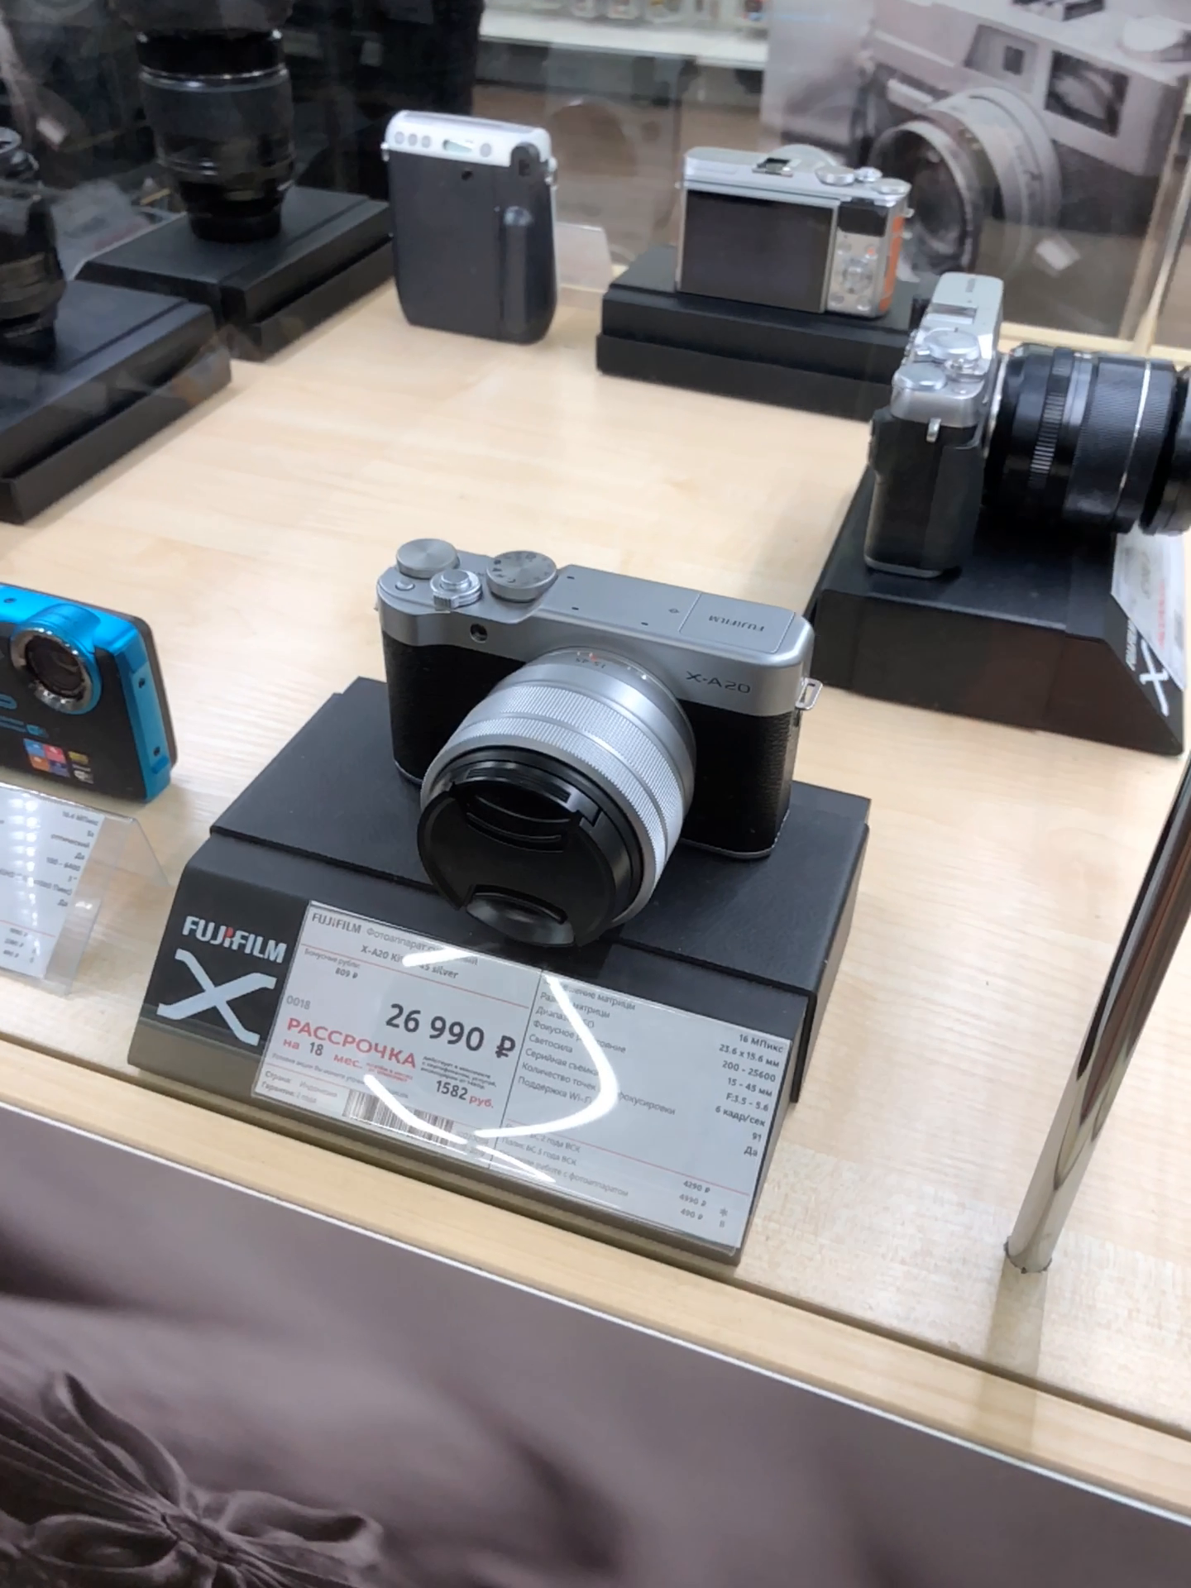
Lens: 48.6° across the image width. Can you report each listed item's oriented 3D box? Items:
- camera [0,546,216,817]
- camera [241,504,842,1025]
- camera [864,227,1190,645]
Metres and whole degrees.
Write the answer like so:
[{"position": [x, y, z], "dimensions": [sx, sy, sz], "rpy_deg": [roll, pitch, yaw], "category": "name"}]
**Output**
[{"position": [-0.182, -0.037, 0.433], "dimensions": [0.106, 0.064, 0.025], "rpy_deg": [14, 40, 15], "category": "camera"}, {"position": [-0.009, -0.013, 0.341], "dimensions": [0.120, 0.070, 0.093], "rpy_deg": [14, 40, 14], "category": "camera"}, {"position": [0.191, -0.150, 0.516], "dimensions": [0.130, 0.074, 0.188], "rpy_deg": [13, 40, 13], "category": "camera"}]
